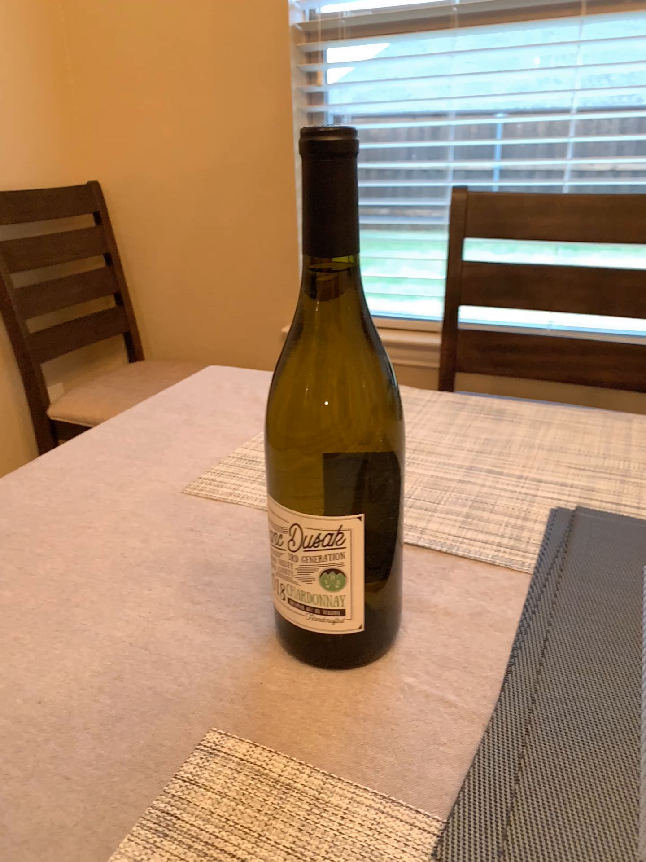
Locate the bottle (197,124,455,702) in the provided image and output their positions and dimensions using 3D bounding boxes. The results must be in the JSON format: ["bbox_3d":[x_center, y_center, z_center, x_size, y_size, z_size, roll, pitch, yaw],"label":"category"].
[{"bbox_3d":[0.005,-0.008,0.366,0.090,0.289,0.080,17,29,38],"label":"bottle"}]
